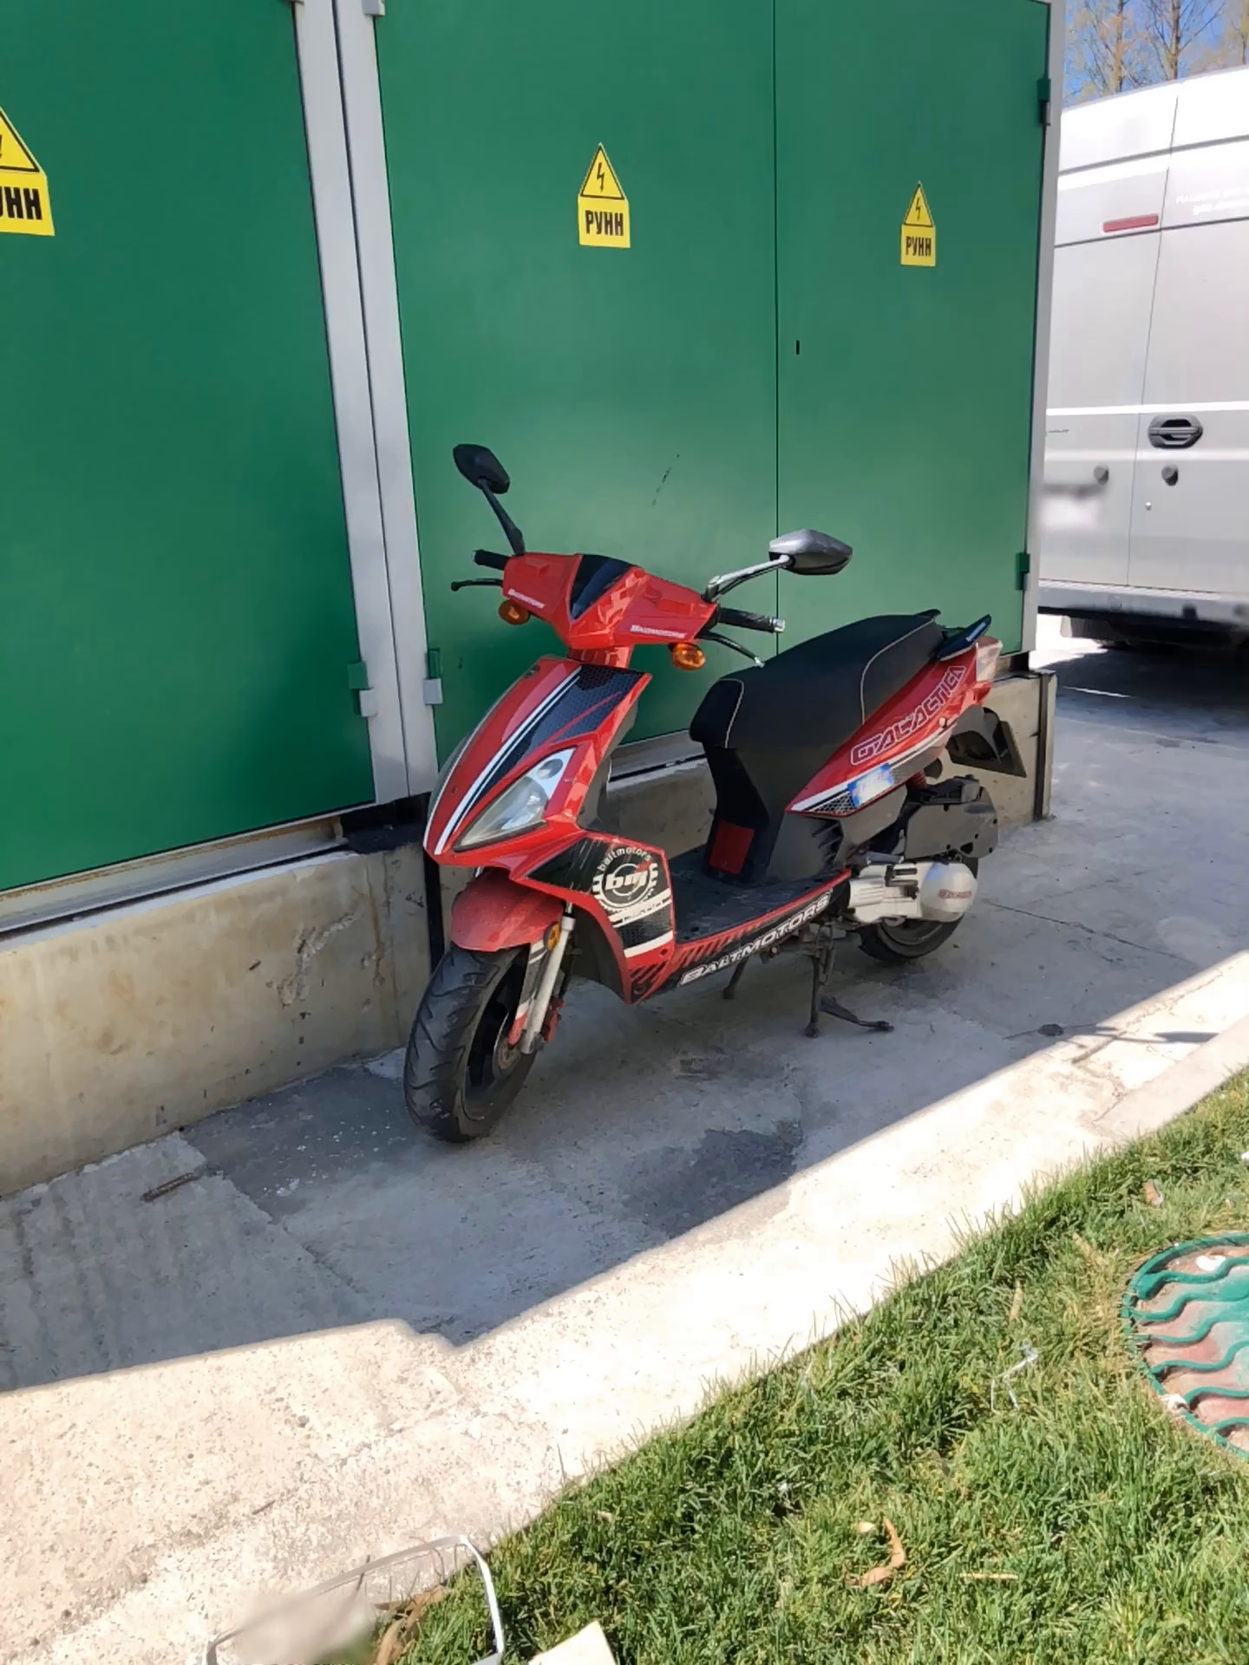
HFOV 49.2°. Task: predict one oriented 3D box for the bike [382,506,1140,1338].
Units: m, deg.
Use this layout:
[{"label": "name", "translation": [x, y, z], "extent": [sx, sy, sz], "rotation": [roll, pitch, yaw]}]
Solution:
[{"label": "bike", "translation": [0.349, -0.006, 2.699], "extent": [1.592, 1.086, 0.590], "rotation": [-16, 21, -37]}]
